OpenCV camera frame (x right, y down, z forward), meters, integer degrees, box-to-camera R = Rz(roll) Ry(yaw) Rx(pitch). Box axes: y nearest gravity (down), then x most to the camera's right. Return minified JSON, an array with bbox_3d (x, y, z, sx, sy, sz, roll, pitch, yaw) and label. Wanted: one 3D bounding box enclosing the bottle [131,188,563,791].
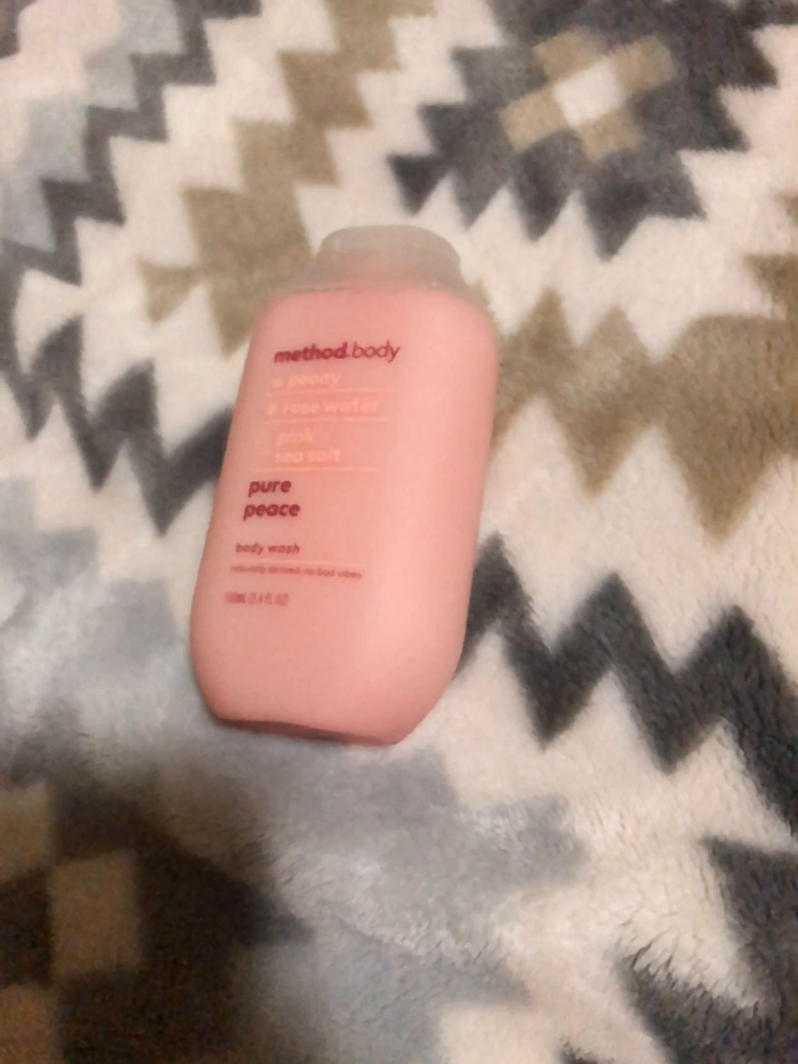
[{"bbox_3d":[-0.007,-0.011,0.180,0.057,0.030,0.110,6,75,22],"label":"bottle"}]
